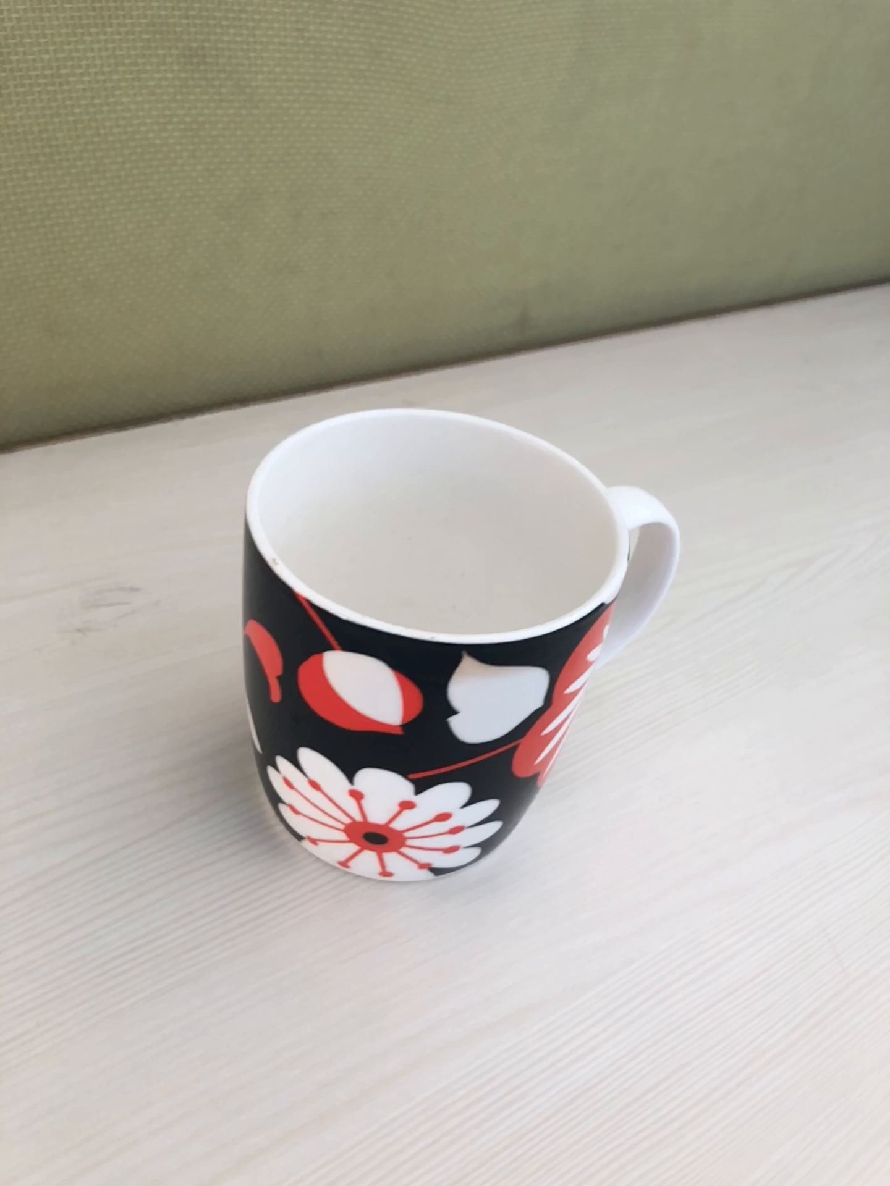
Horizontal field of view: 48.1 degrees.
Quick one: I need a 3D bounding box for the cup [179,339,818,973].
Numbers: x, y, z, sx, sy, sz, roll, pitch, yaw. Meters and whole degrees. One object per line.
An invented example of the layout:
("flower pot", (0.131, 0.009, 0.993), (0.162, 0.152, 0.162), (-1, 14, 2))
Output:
("cup", (0.010, 0.006, 0.257), (0.121, 0.089, 0.090), (-25, 50, -36))
